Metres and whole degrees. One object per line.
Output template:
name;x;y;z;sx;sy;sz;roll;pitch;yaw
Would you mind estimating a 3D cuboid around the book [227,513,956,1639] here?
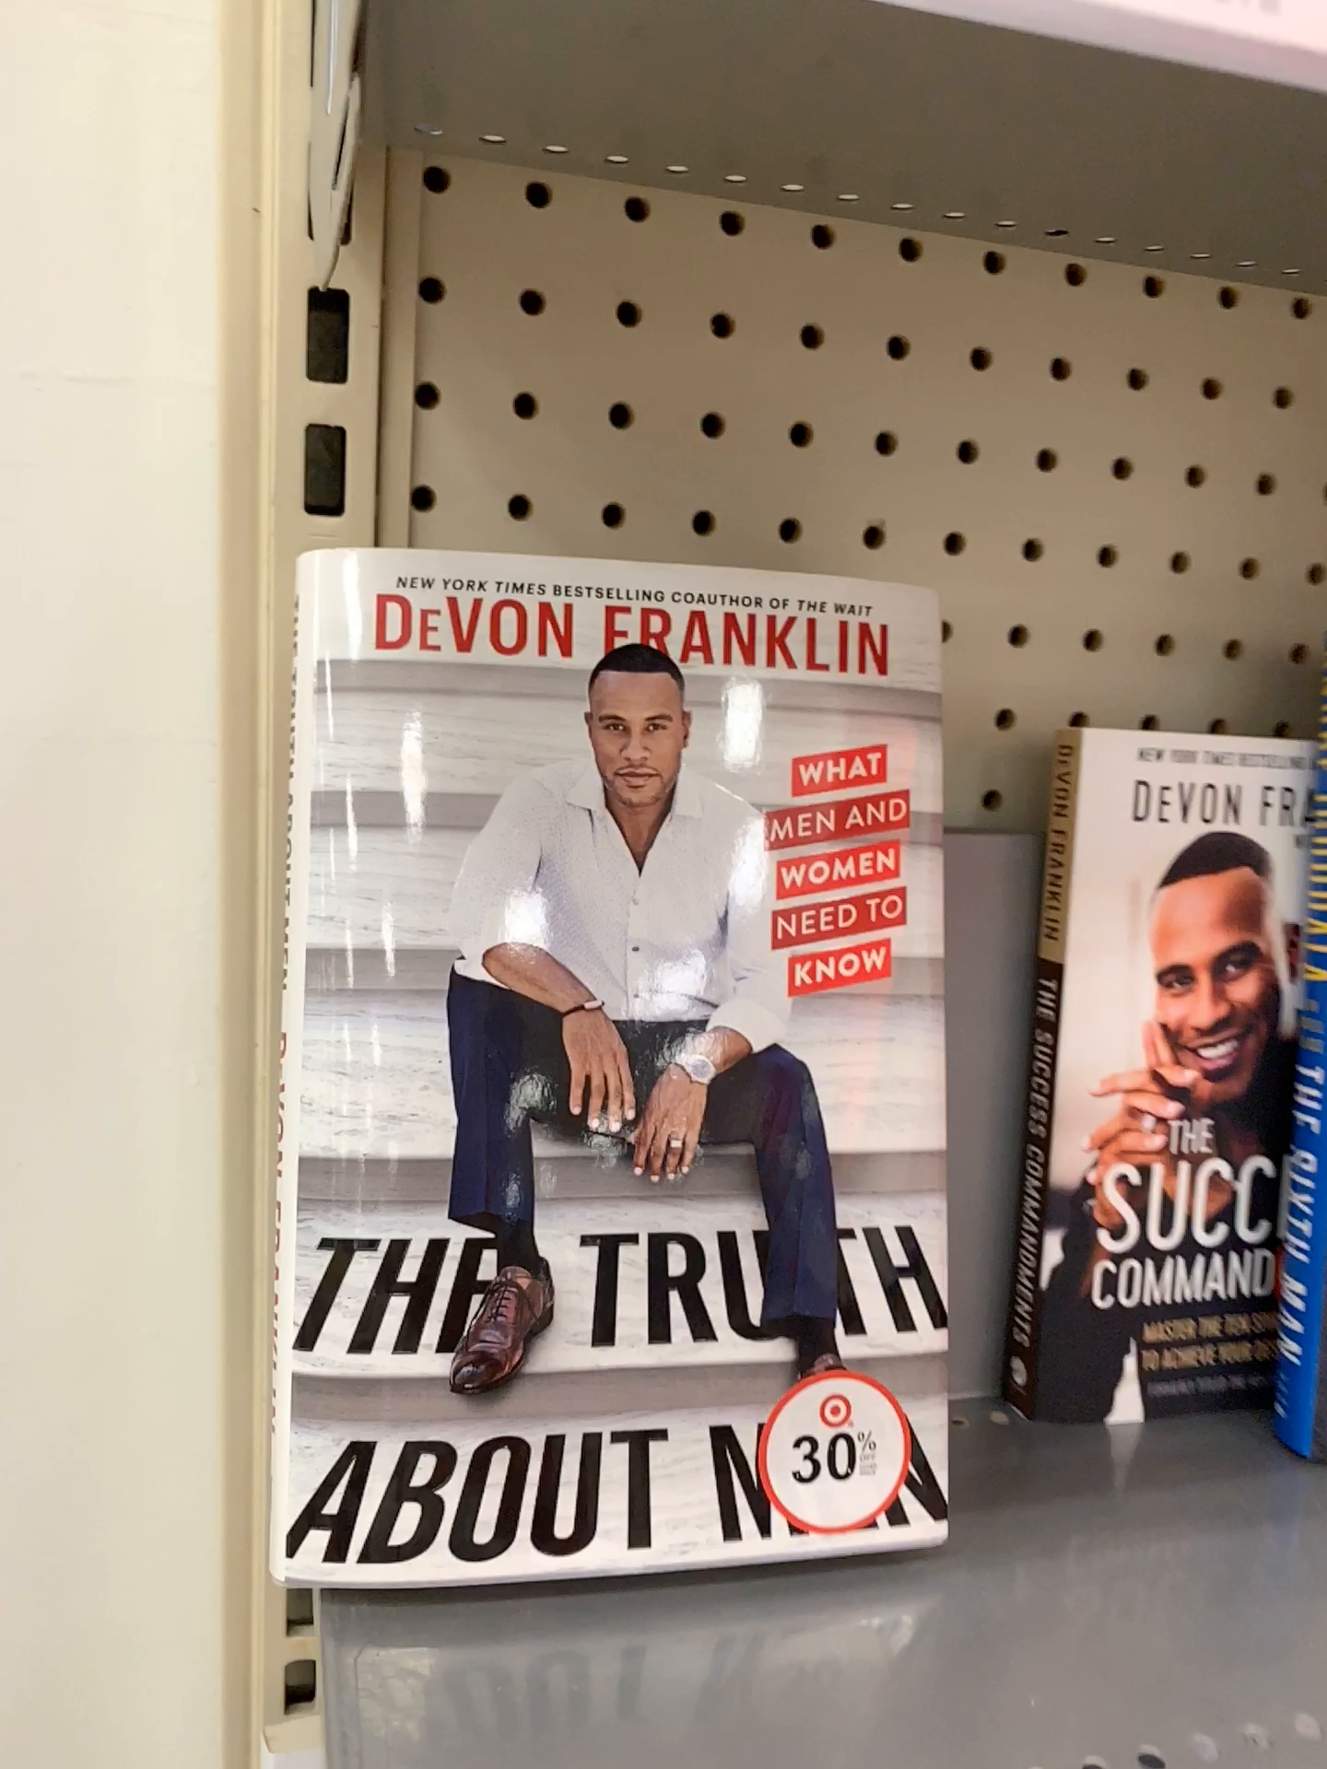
book;-0.015;0.039;0.328;0.160;0.236;0.040;1;-5;-12
